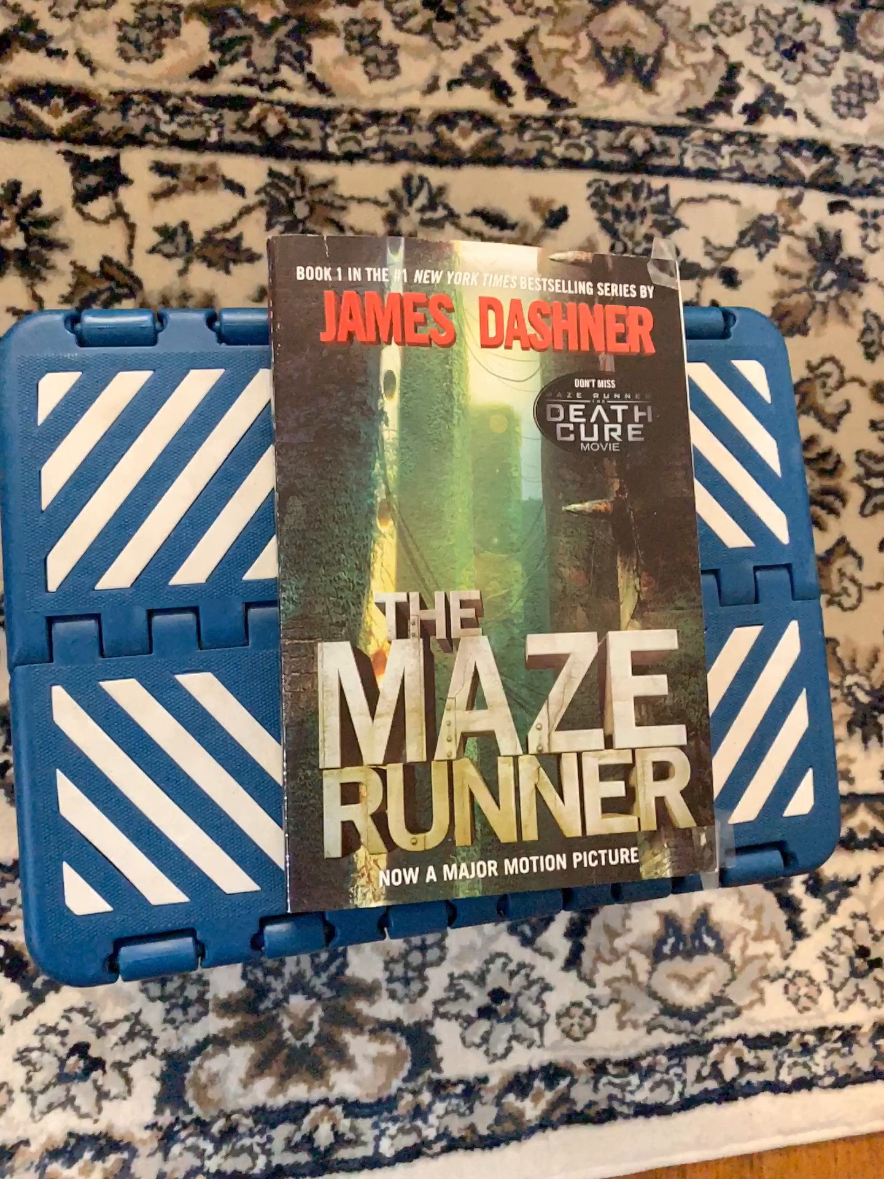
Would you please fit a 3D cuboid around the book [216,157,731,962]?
[{"bbox_3d":[0.008,-0.013,0.290,0.150,0.030,0.230,-1,84,-12],"label":"book"}]
